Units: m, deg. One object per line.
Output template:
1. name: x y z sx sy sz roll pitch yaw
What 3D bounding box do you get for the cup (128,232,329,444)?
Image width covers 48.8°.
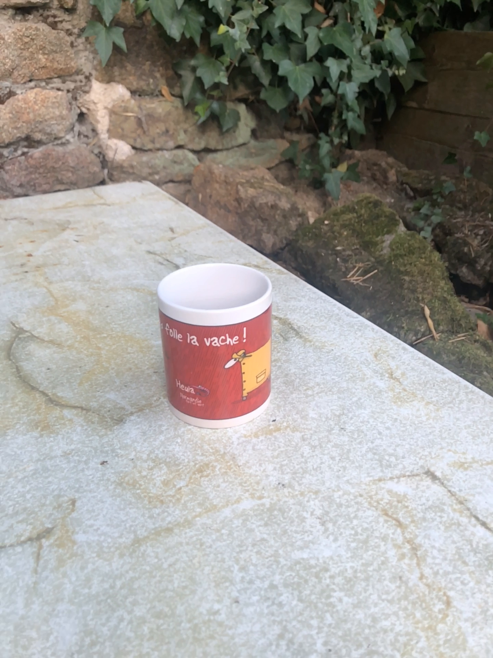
1. cup: -0.006 -0.002 0.391 0.086 0.083 0.130 14 34 23
